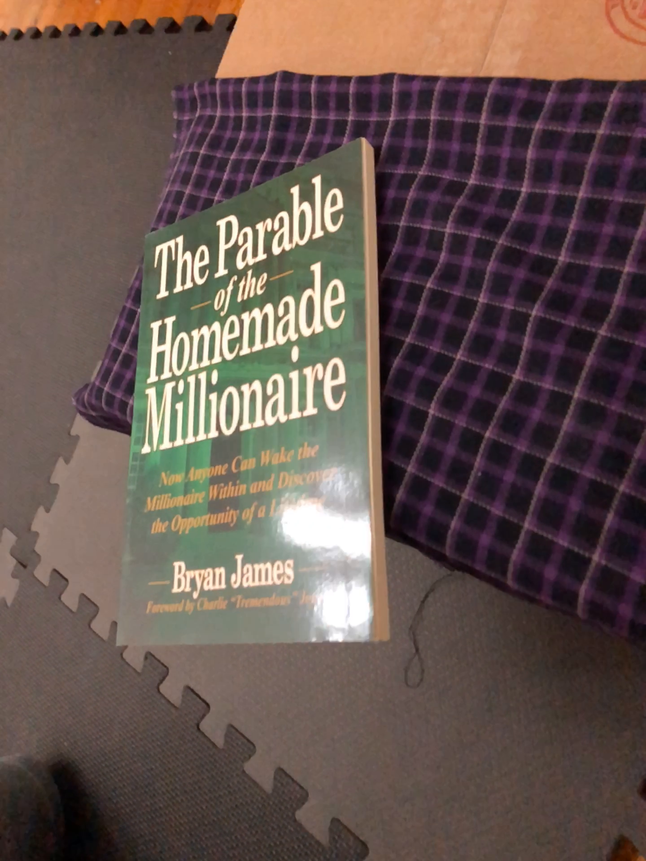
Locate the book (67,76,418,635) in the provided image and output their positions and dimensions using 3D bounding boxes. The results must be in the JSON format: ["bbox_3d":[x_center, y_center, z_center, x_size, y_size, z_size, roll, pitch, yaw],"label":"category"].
[{"bbox_3d":[-0.041,-0.024,0.303,0.160,0.020,0.210,-13,69,33],"label":"book"}]
